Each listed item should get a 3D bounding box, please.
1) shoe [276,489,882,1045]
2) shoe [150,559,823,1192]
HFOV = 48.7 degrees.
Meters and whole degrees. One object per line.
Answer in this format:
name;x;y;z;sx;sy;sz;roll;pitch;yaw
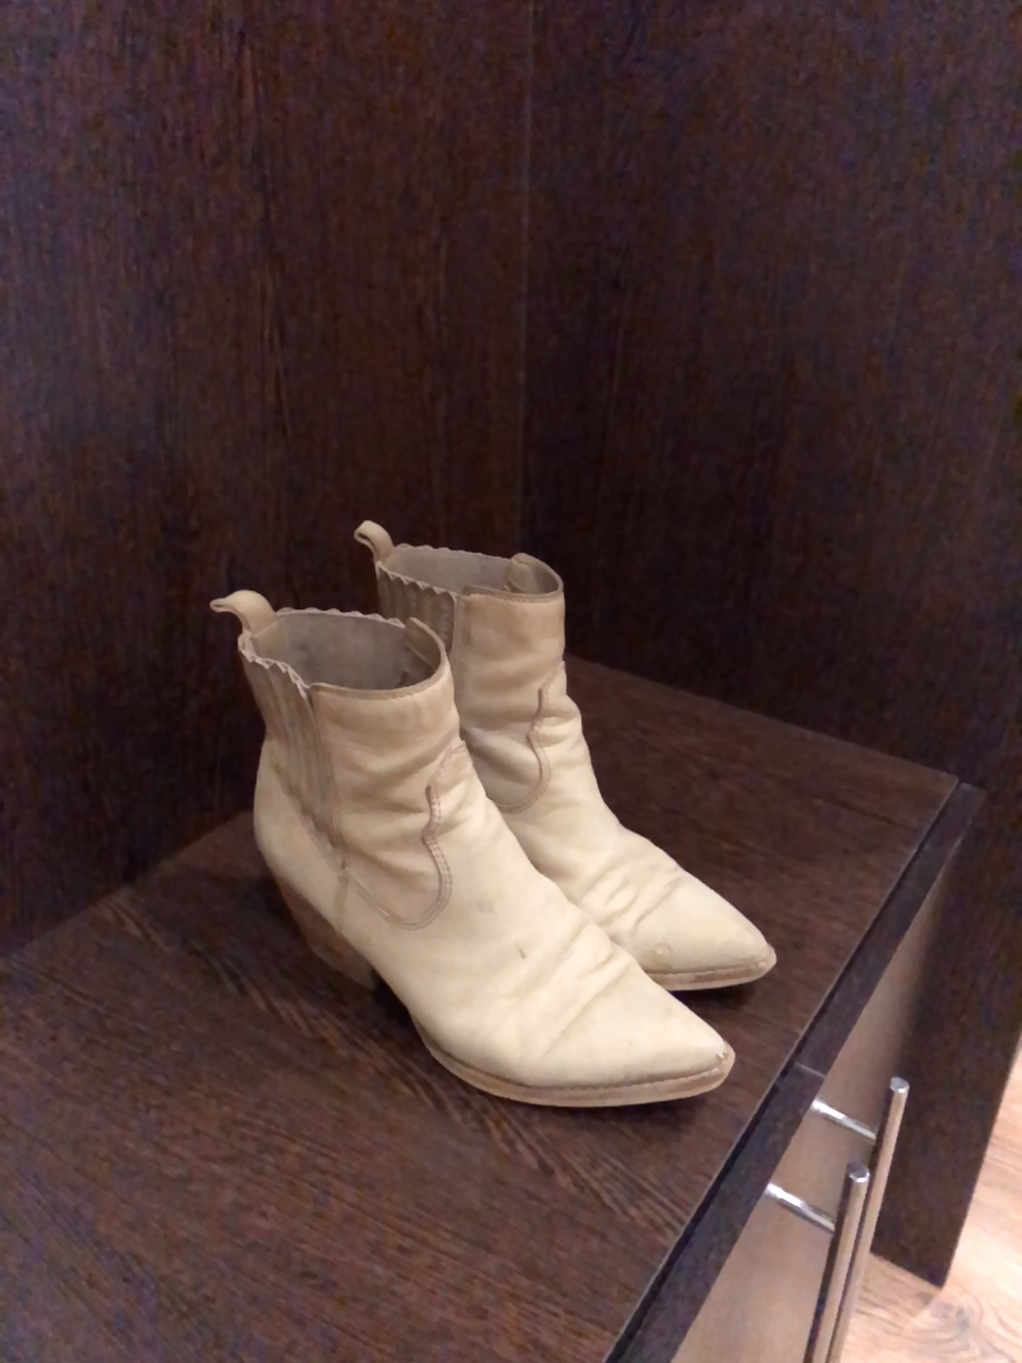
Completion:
shoe;0.019;0.025;0.571;0.280;0.169;0.100;21;33;34
shoe;-0.019;0.069;0.507;0.270;0.169;0.100;18;33;30
